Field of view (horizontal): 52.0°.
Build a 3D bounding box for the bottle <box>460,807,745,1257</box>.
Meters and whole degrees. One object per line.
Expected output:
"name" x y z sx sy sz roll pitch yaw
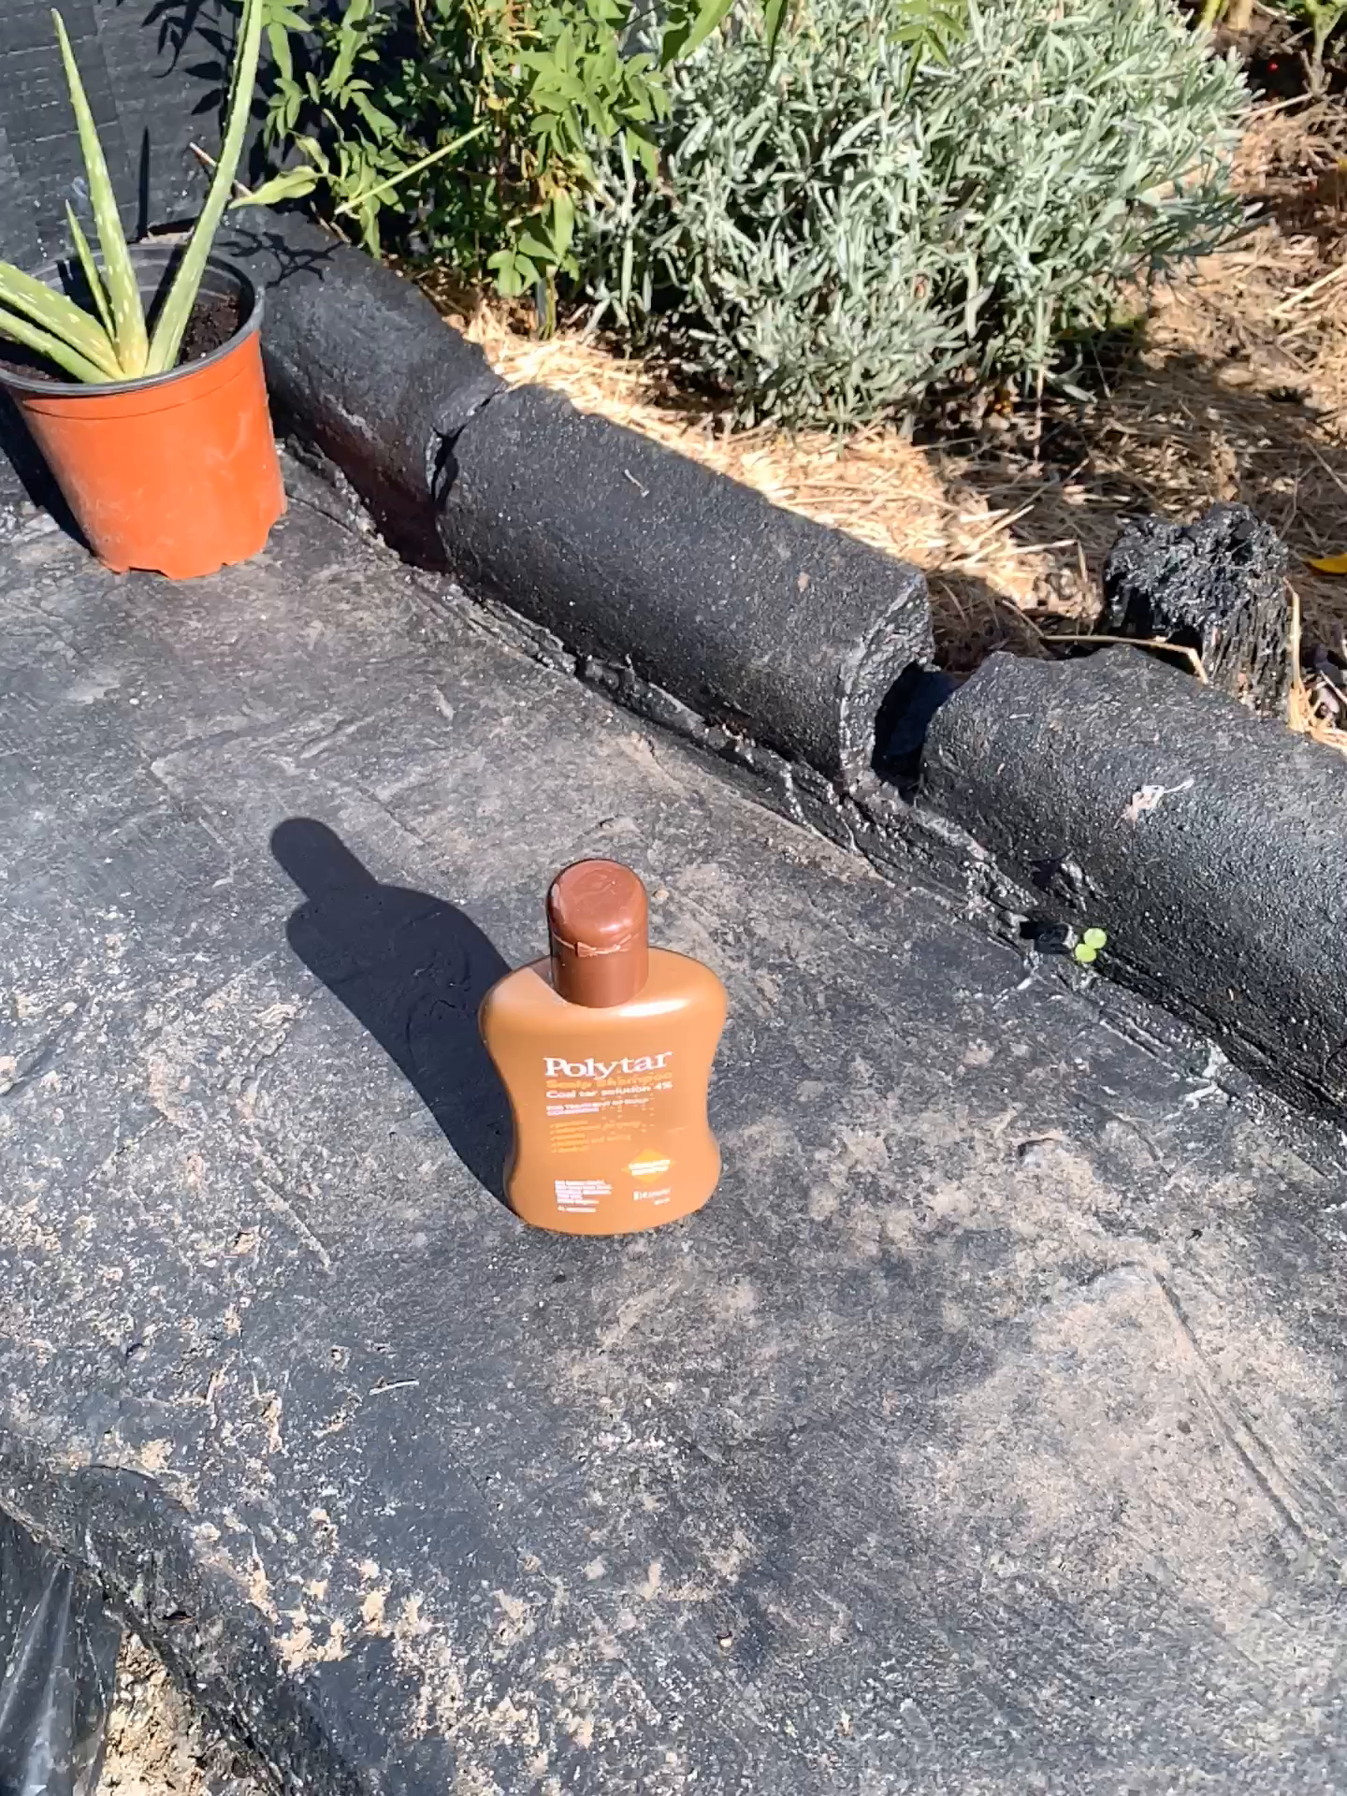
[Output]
"bottle" -0.019 0.046 0.413 0.070 0.149 0.040 -7 46 -6
